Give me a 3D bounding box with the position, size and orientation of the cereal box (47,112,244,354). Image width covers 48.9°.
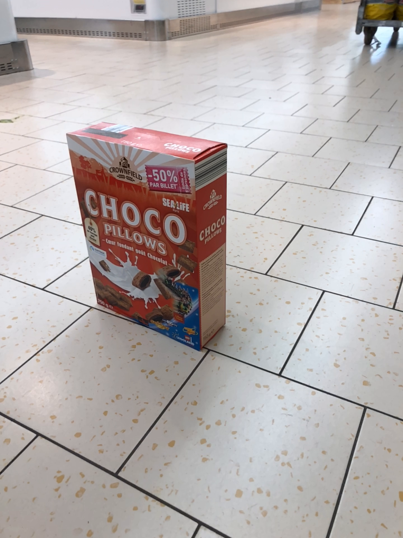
[{"bbox_3d":[-0.064,-0.050,0.552,0.210,0.239,0.091,20,38,30],"label":"cereal box"}]
